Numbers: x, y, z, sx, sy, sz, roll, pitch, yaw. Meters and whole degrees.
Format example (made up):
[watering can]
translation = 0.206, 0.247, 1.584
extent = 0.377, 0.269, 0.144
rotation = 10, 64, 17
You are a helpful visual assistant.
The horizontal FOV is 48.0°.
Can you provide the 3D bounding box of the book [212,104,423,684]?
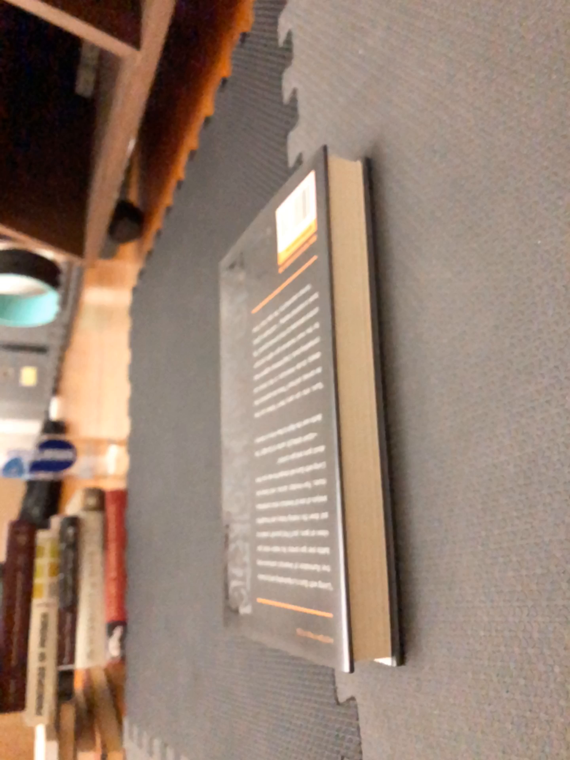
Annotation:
[book]
translation = 0.005, 0.012, 0.366
extent = 0.171, 0.040, 0.260
rotation = 153, 119, -64
